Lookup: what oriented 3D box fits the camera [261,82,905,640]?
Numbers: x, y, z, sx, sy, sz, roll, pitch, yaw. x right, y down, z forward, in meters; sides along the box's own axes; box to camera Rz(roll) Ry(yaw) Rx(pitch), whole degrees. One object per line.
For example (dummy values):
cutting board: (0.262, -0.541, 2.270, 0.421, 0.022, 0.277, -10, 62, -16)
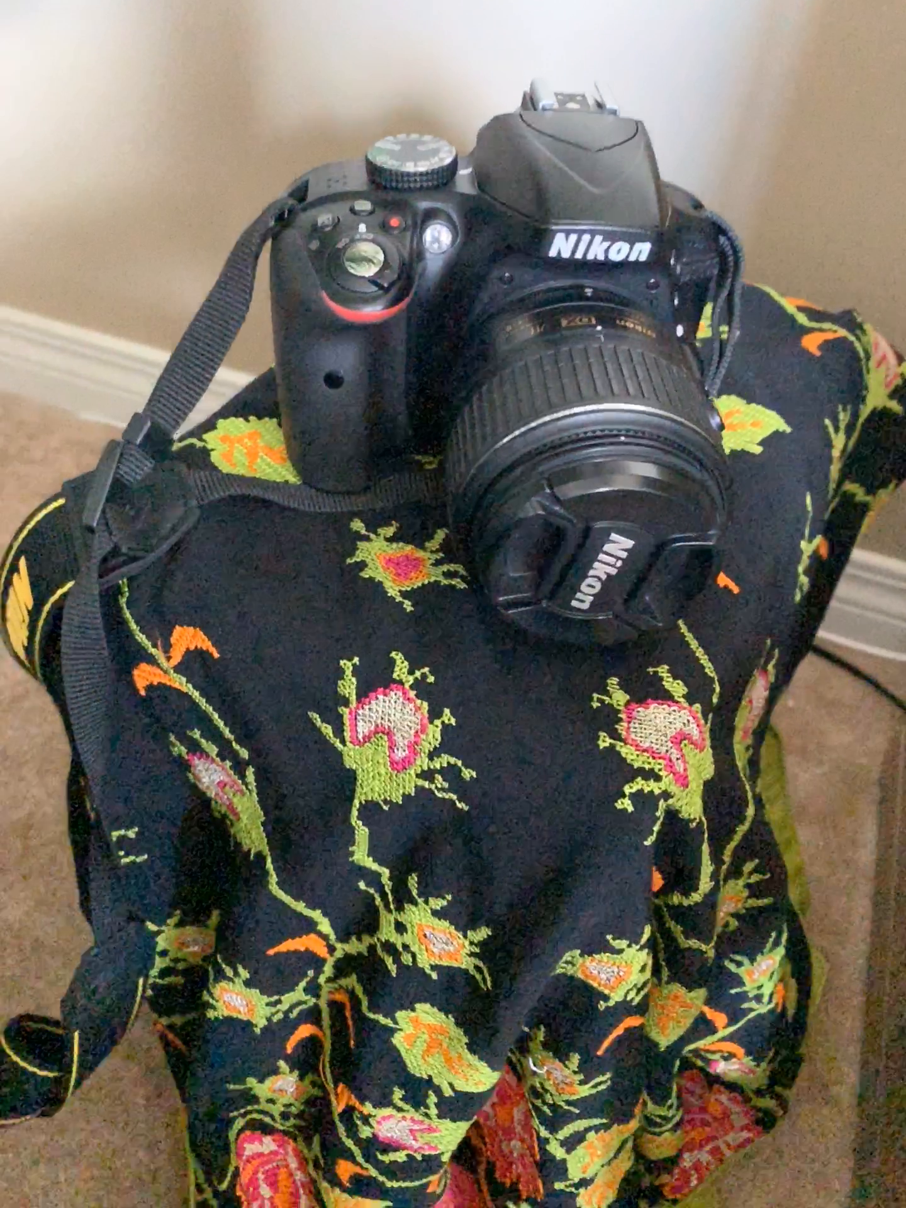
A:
camera: (0.018, -0.060, 0.237, 0.120, 0.099, 0.091, -2, 46, -7)
